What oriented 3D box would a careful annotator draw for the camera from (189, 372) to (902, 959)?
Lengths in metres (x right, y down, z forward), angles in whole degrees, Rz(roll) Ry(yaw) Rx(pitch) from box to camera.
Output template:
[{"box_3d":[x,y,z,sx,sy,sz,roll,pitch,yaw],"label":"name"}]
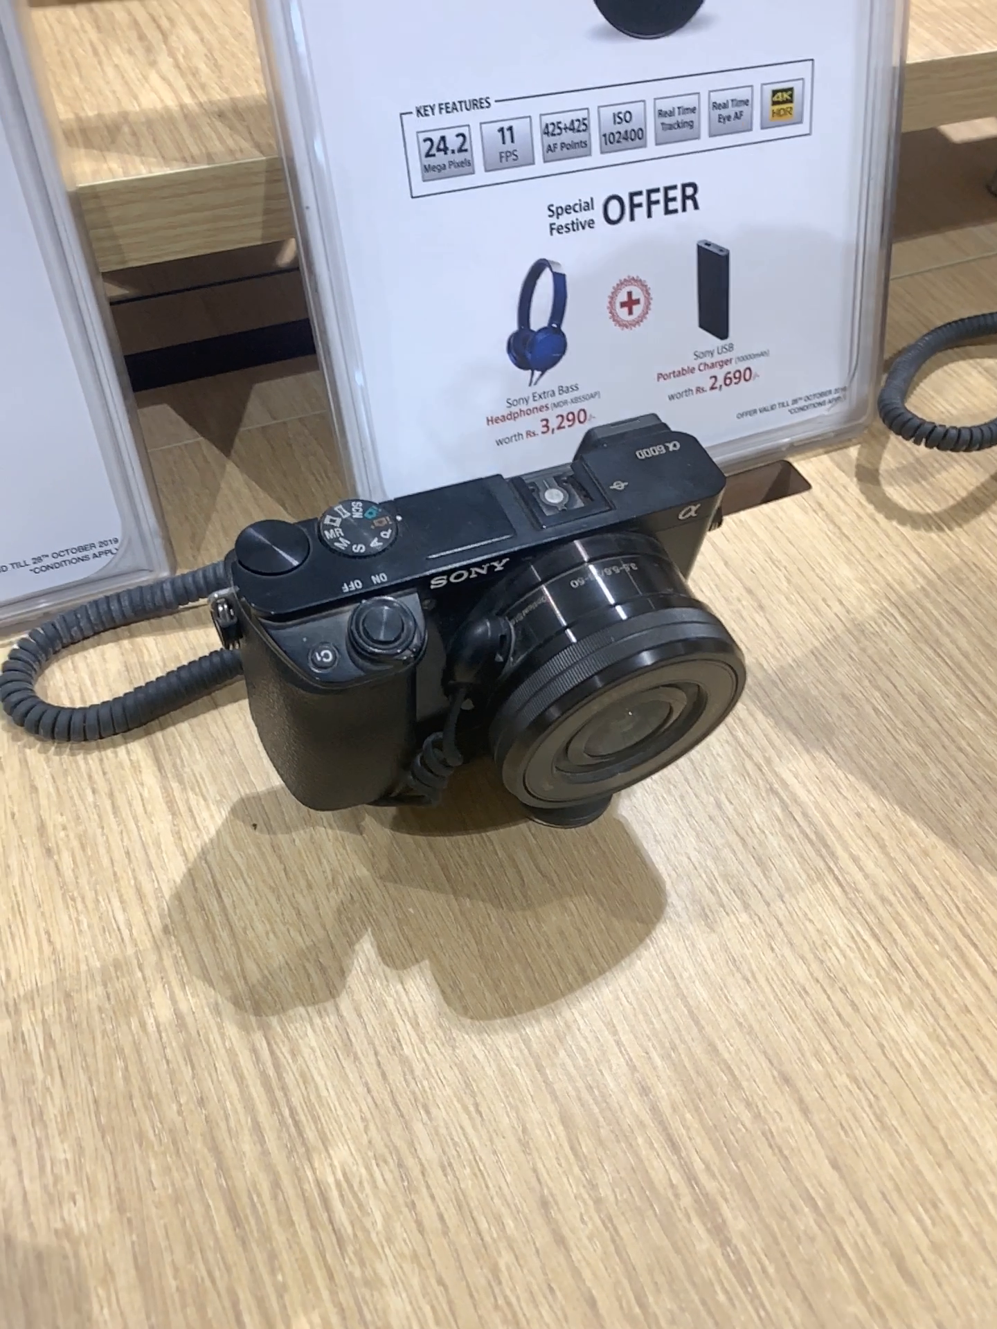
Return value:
[{"box_3d":[0.006,-0.003,0.226,0.120,0.070,0.070,-18,57,-19],"label":"camera"}]
